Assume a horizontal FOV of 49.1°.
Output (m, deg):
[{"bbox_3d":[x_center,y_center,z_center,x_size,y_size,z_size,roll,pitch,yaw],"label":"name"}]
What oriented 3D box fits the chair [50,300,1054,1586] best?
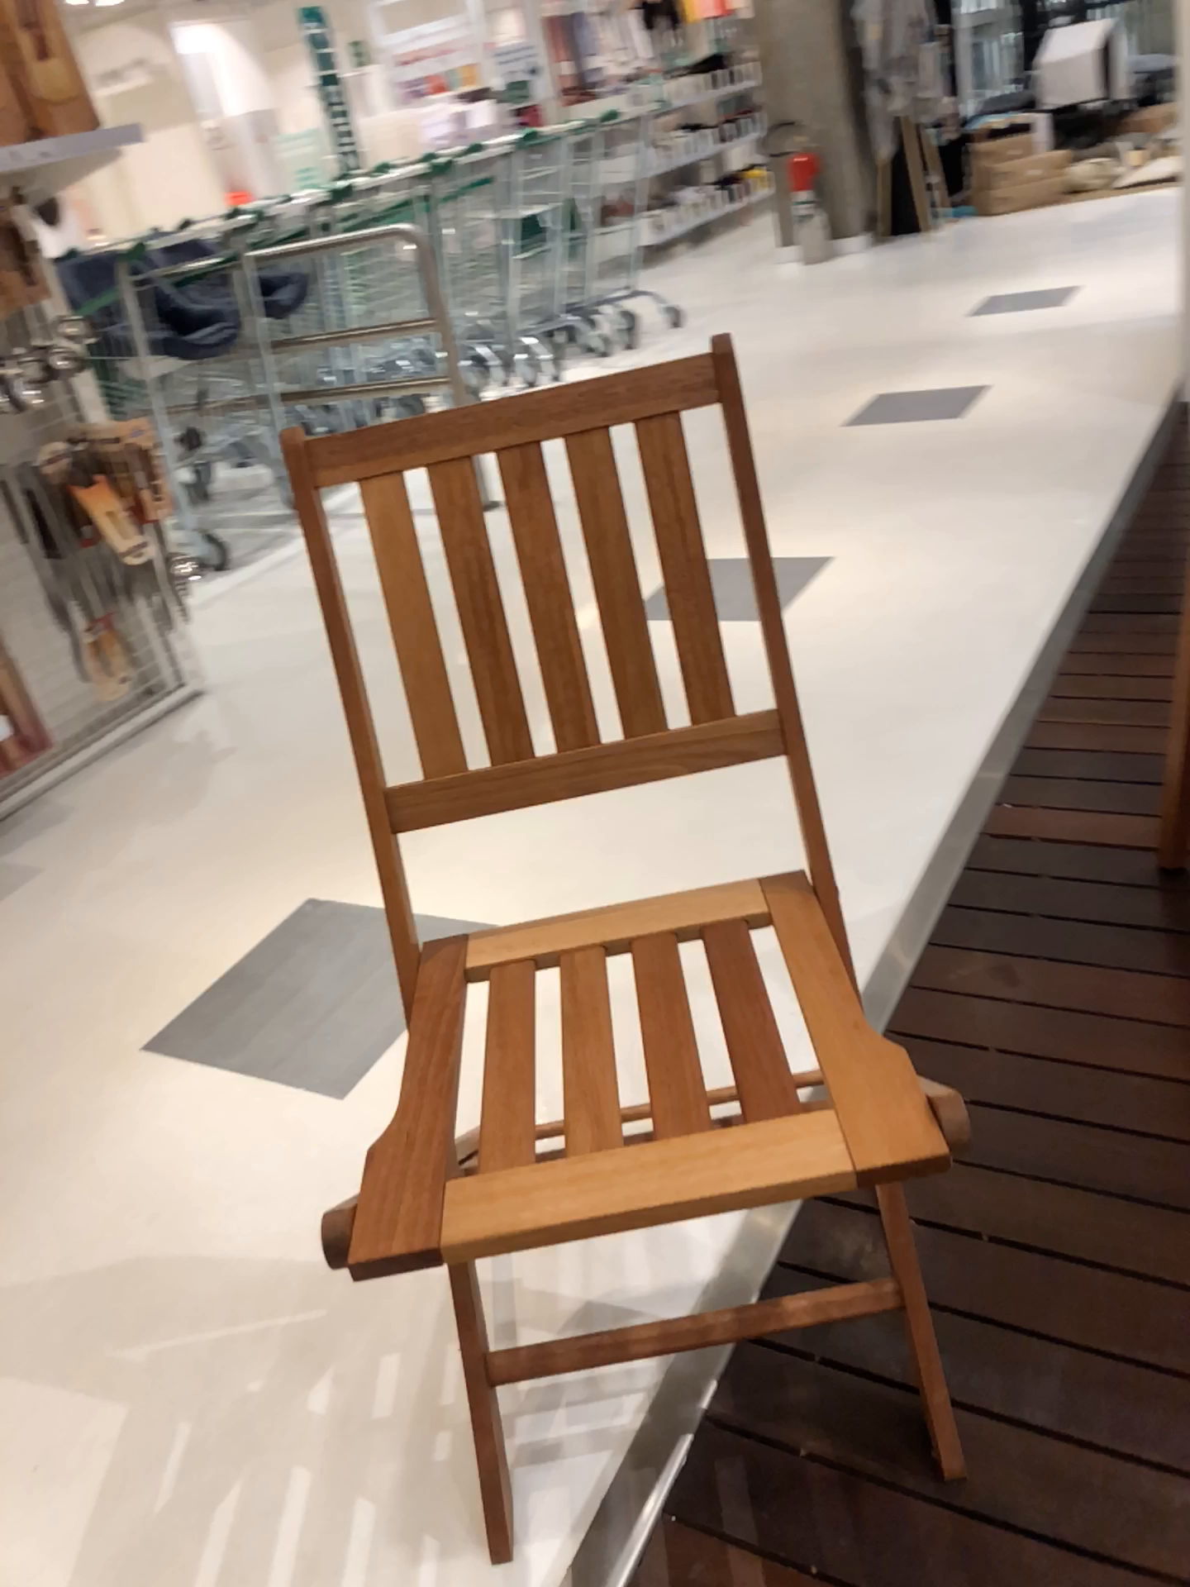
[{"bbox_3d":[0.023,0.105,1.148,0.500,0.863,0.605,-12,27,2],"label":"chair"}]
